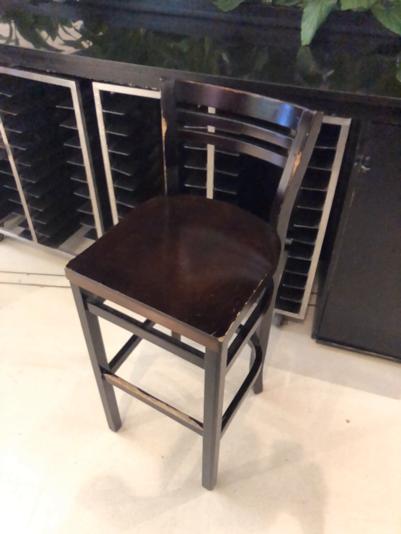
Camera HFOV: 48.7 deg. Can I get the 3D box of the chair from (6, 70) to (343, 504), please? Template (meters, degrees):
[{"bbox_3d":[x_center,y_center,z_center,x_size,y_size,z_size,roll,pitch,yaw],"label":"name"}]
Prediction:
[{"bbox_3d":[-0.021,0.083,1.109,0.441,0.913,0.453,22,46,23],"label":"chair"}]
